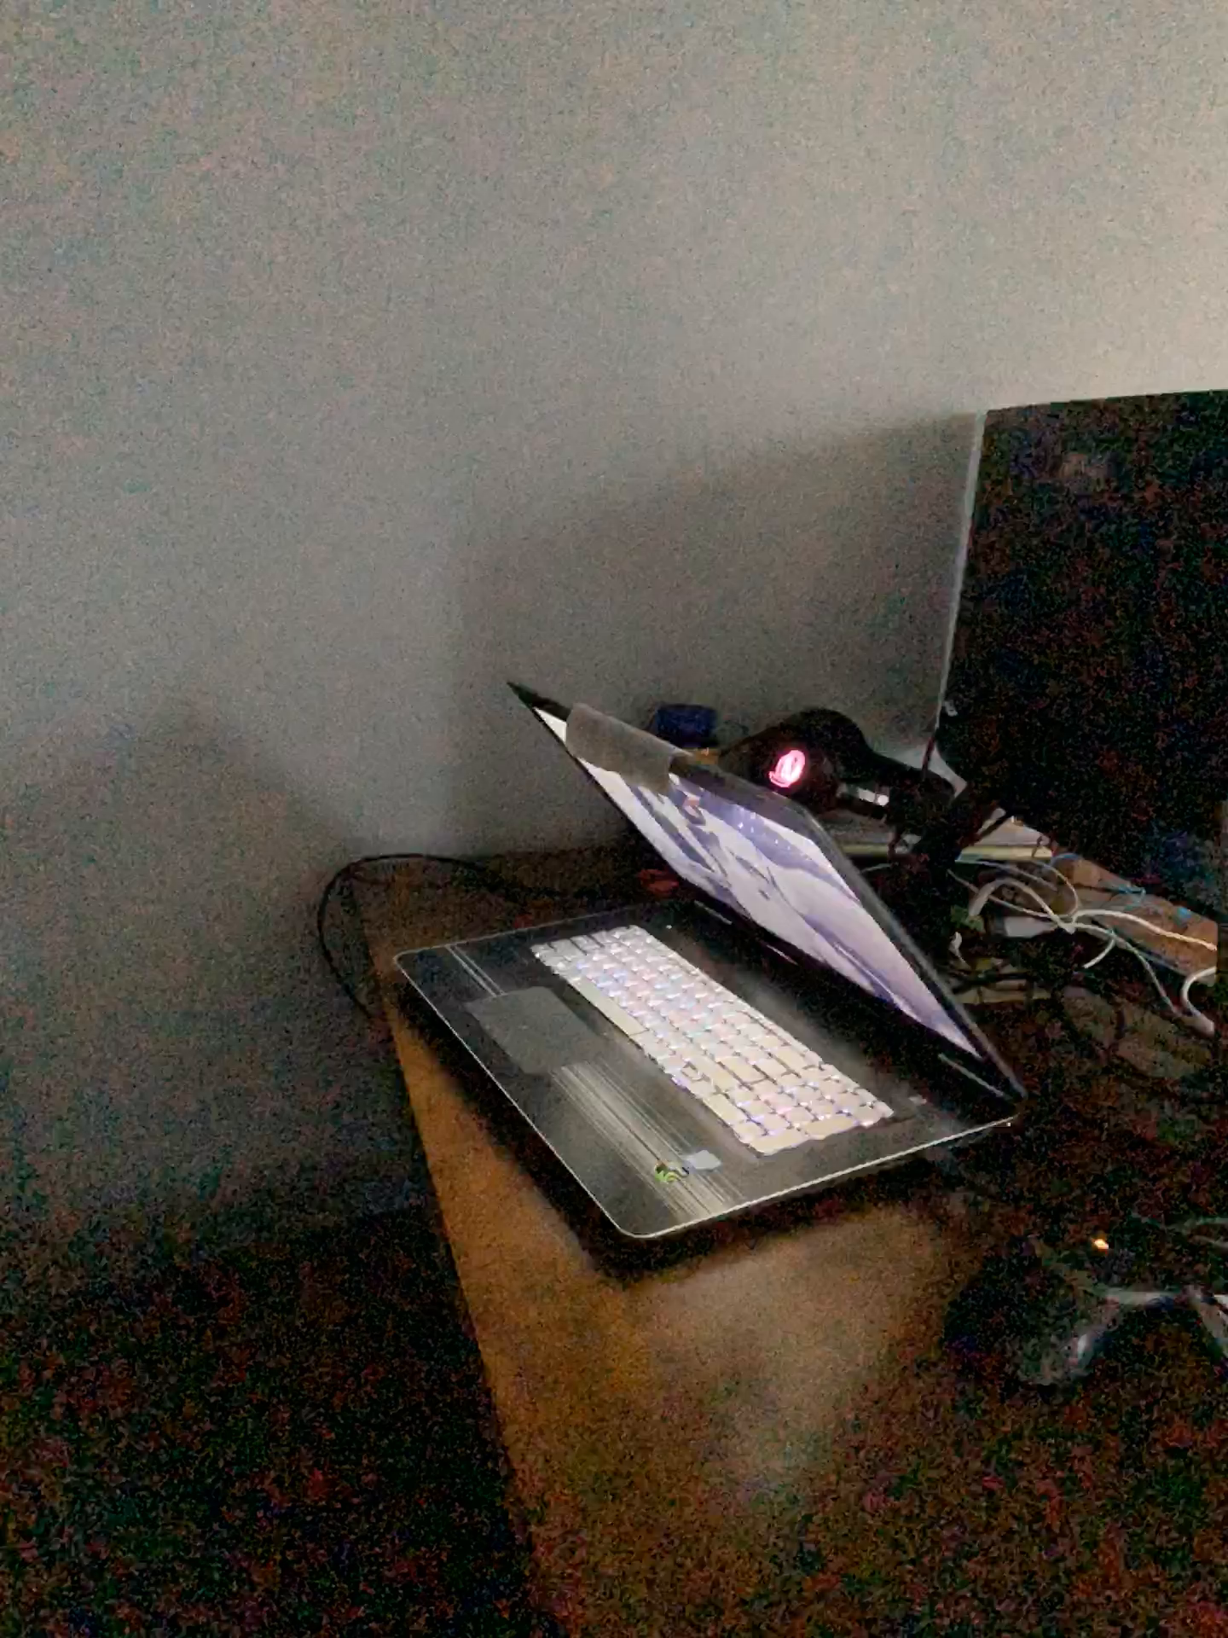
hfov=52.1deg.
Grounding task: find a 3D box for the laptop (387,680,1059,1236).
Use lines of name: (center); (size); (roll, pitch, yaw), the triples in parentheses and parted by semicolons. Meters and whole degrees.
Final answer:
laptop: (0.036, 0.047, 0.824); (0.257, 0.187, 0.394); (-8, 18, -26)
